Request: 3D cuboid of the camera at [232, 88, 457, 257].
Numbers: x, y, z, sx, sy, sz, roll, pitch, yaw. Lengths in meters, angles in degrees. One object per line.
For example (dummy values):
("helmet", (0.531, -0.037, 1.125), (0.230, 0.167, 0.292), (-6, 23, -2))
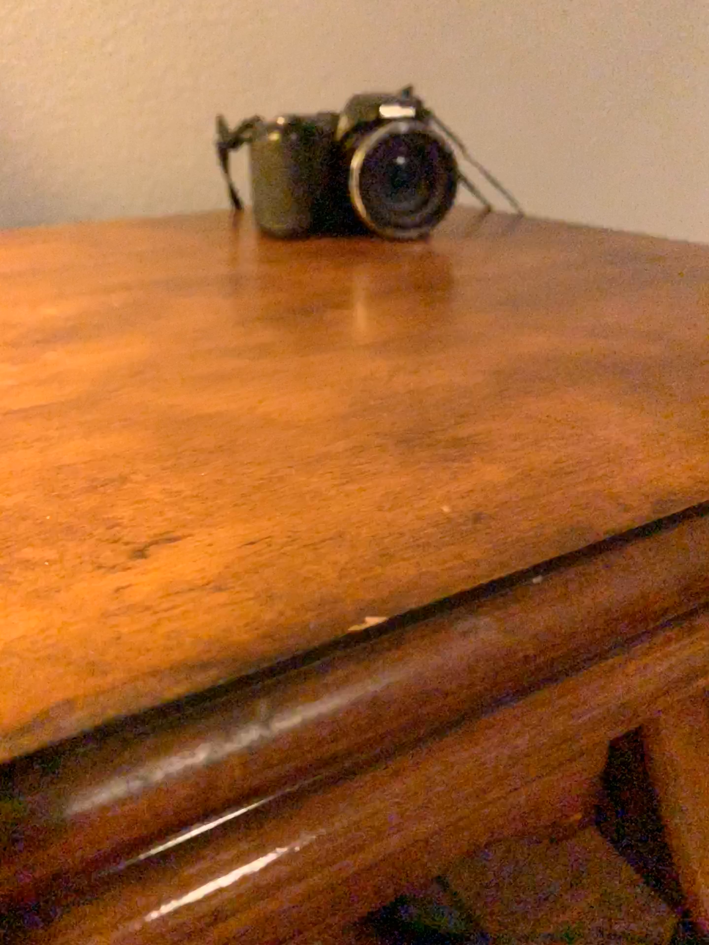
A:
("camera", (-0.011, -0.189, 0.464), (0.110, 0.081, 0.123), (-8, 25, -12))
